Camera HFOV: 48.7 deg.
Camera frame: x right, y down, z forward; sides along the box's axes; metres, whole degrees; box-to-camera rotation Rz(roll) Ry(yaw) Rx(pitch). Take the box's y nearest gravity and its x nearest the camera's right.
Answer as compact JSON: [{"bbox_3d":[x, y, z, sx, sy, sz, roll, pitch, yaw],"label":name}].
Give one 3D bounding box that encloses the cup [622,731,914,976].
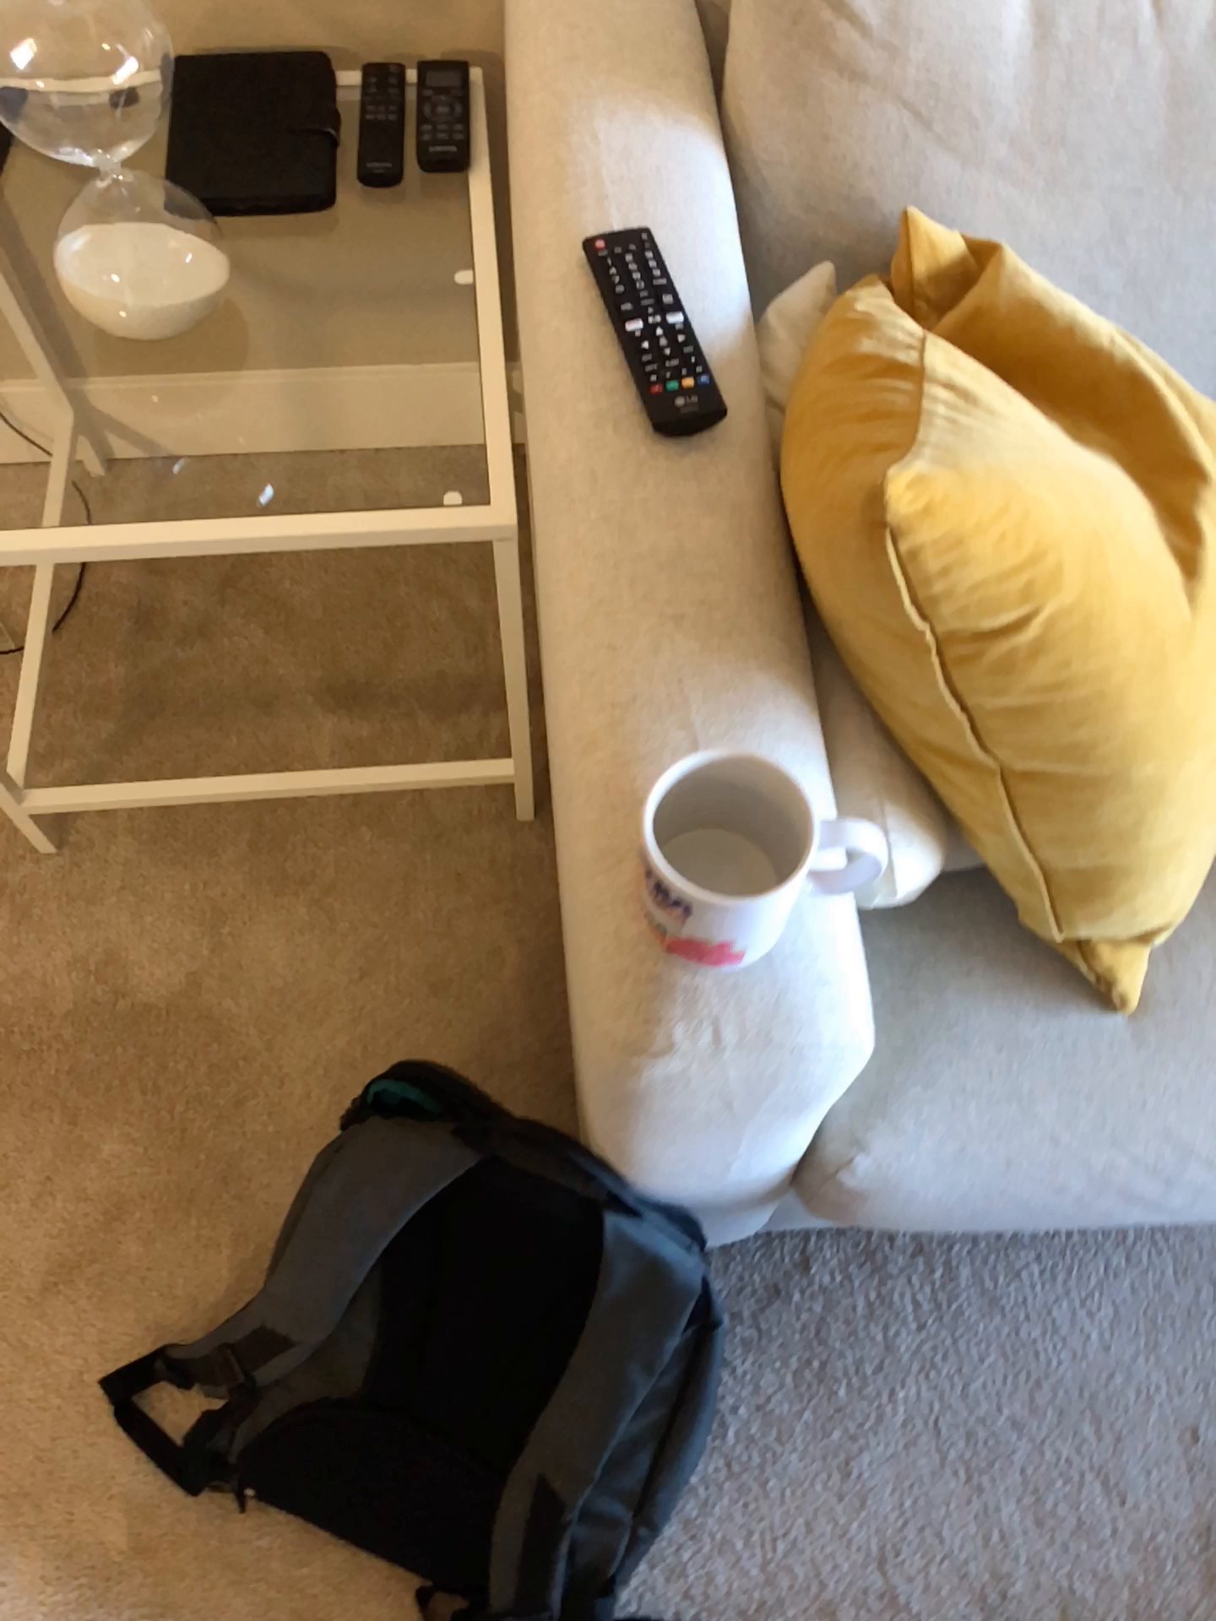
[{"bbox_3d":[0.069,0.023,0.631,0.120,0.100,0.080,0,63,-1],"label":"cup"}]
